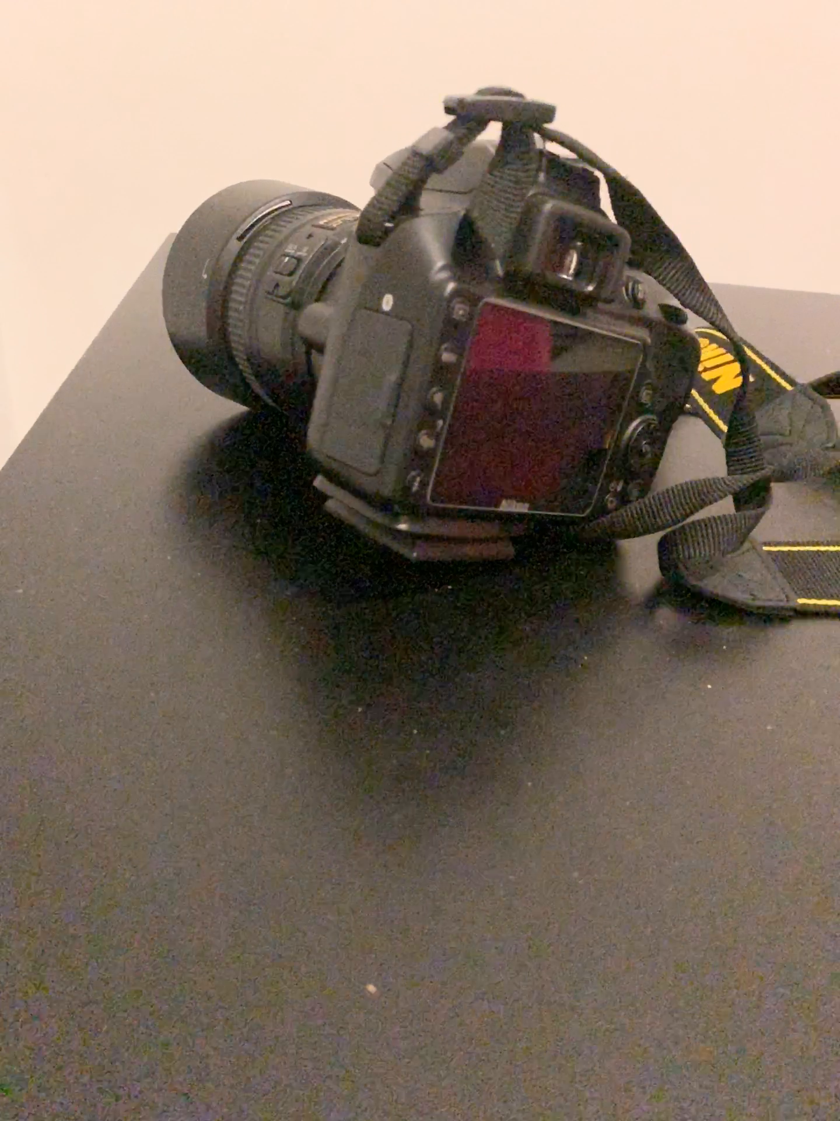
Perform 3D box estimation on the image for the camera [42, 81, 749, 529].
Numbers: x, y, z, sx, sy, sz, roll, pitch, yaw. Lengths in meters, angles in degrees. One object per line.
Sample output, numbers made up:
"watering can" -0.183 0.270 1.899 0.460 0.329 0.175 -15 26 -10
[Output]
"camera" -0.027 -0.094 0.300 0.116 0.089 0.220 2 21 -43
